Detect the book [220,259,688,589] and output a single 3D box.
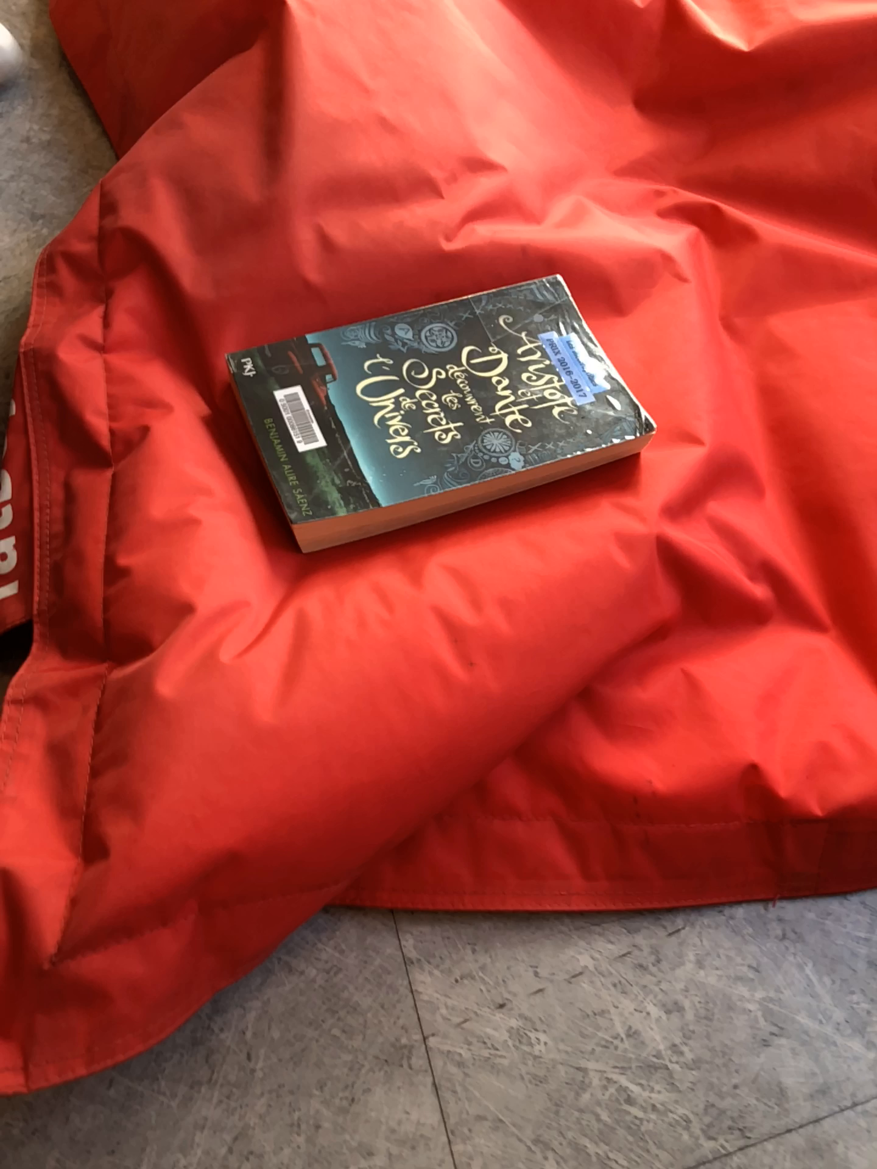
[{"bbox_3d":[0.006,-0.102,0.572,0.229,0.048,0.149,-17,59,-13],"label":"book"}]
